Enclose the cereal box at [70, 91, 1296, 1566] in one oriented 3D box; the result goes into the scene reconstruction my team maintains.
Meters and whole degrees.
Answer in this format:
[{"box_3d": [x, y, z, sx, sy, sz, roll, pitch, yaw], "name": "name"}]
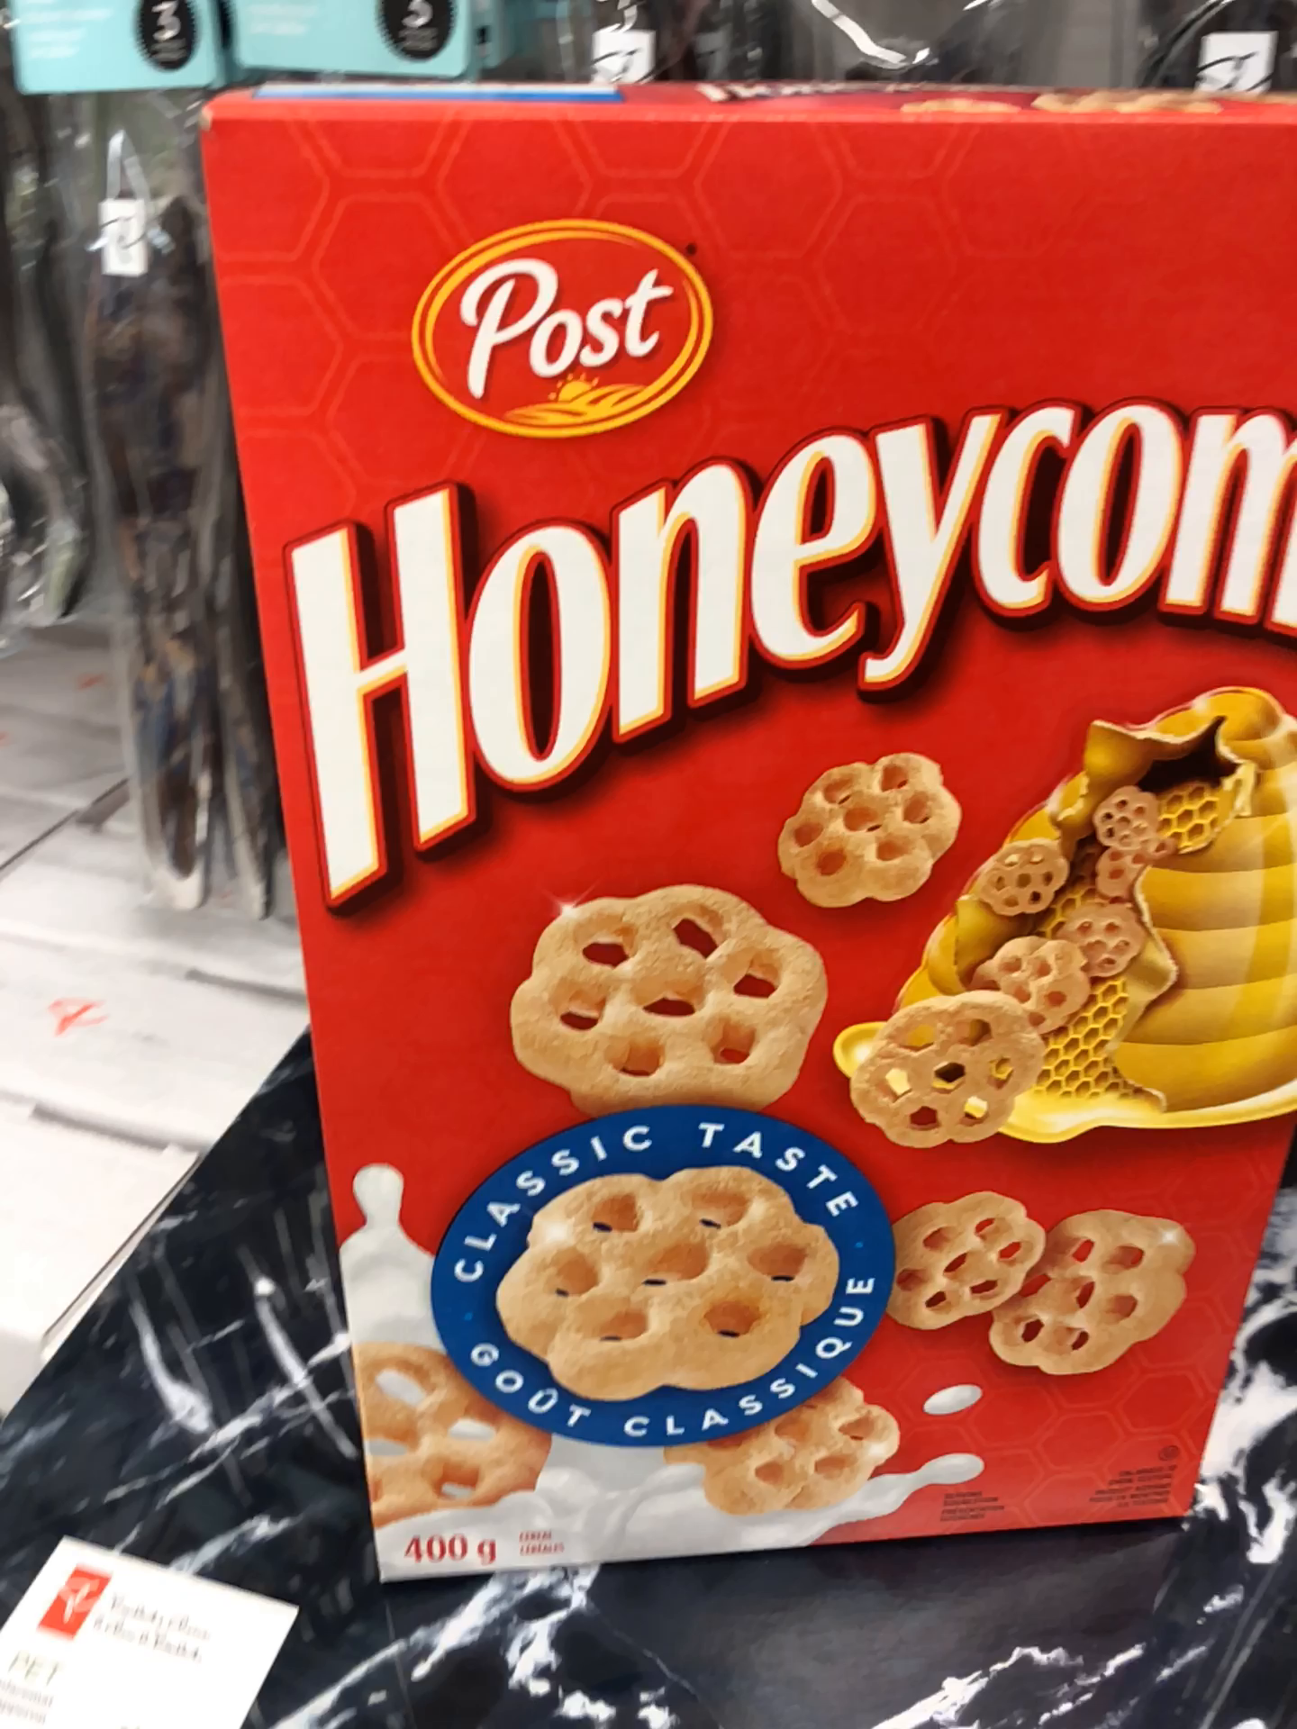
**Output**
[{"box_3d": [0.025, 0.009, 0.301, 0.210, 0.299, 0.070, -2, 28, -5], "name": "cereal box"}]
